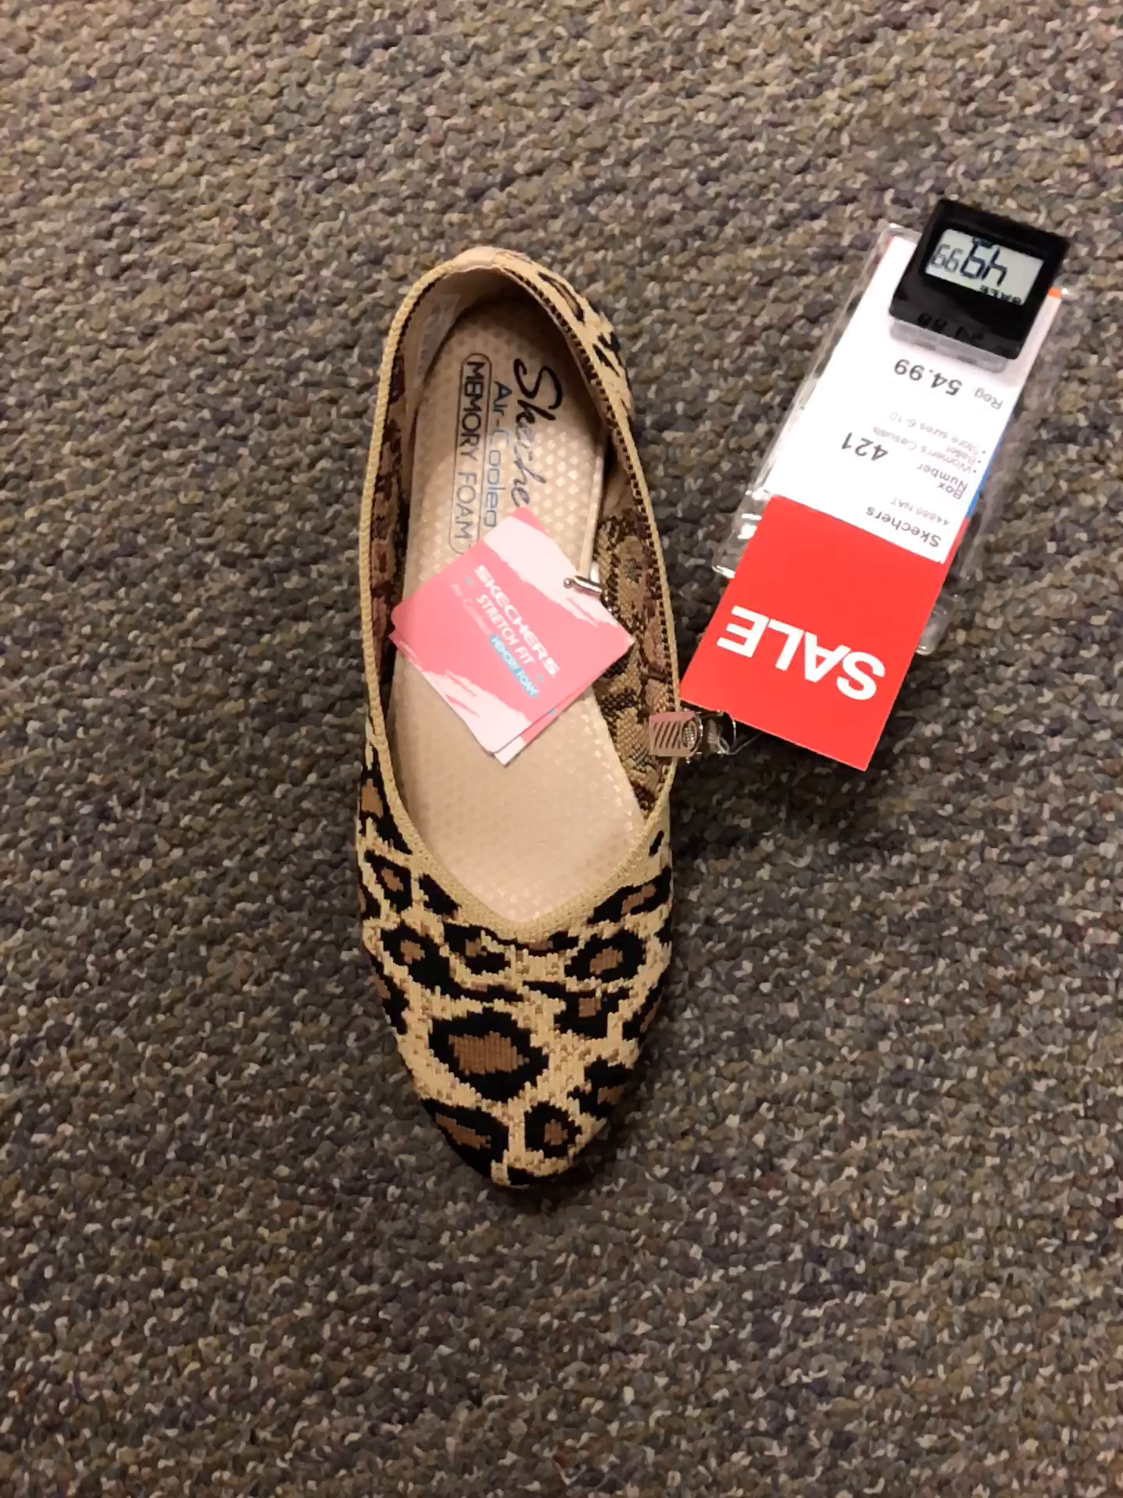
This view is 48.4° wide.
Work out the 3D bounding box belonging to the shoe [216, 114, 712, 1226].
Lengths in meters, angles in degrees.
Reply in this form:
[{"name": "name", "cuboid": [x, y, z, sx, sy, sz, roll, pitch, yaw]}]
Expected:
[{"name": "shoe", "cuboid": [-0.022, -0.016, 0.331, 0.105, 0.086, 0.254, -4, 83, 9]}]
